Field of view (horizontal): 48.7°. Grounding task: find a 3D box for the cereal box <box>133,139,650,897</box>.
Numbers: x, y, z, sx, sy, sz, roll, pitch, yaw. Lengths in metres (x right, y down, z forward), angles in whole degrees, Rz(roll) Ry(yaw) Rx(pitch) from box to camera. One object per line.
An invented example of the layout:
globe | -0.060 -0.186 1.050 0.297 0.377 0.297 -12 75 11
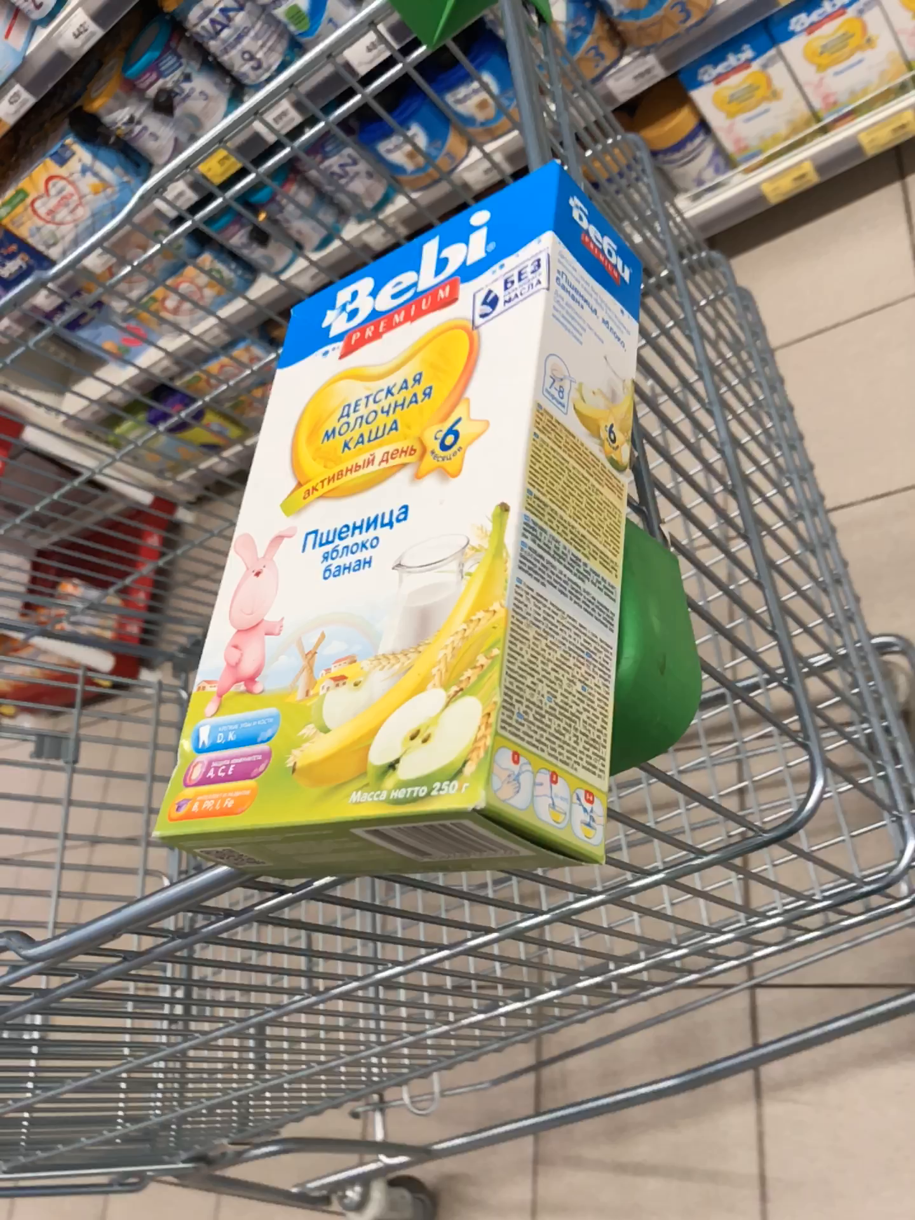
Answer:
cereal box | -0.015 -0.024 0.314 0.131 0.050 0.210 -15 56 40
